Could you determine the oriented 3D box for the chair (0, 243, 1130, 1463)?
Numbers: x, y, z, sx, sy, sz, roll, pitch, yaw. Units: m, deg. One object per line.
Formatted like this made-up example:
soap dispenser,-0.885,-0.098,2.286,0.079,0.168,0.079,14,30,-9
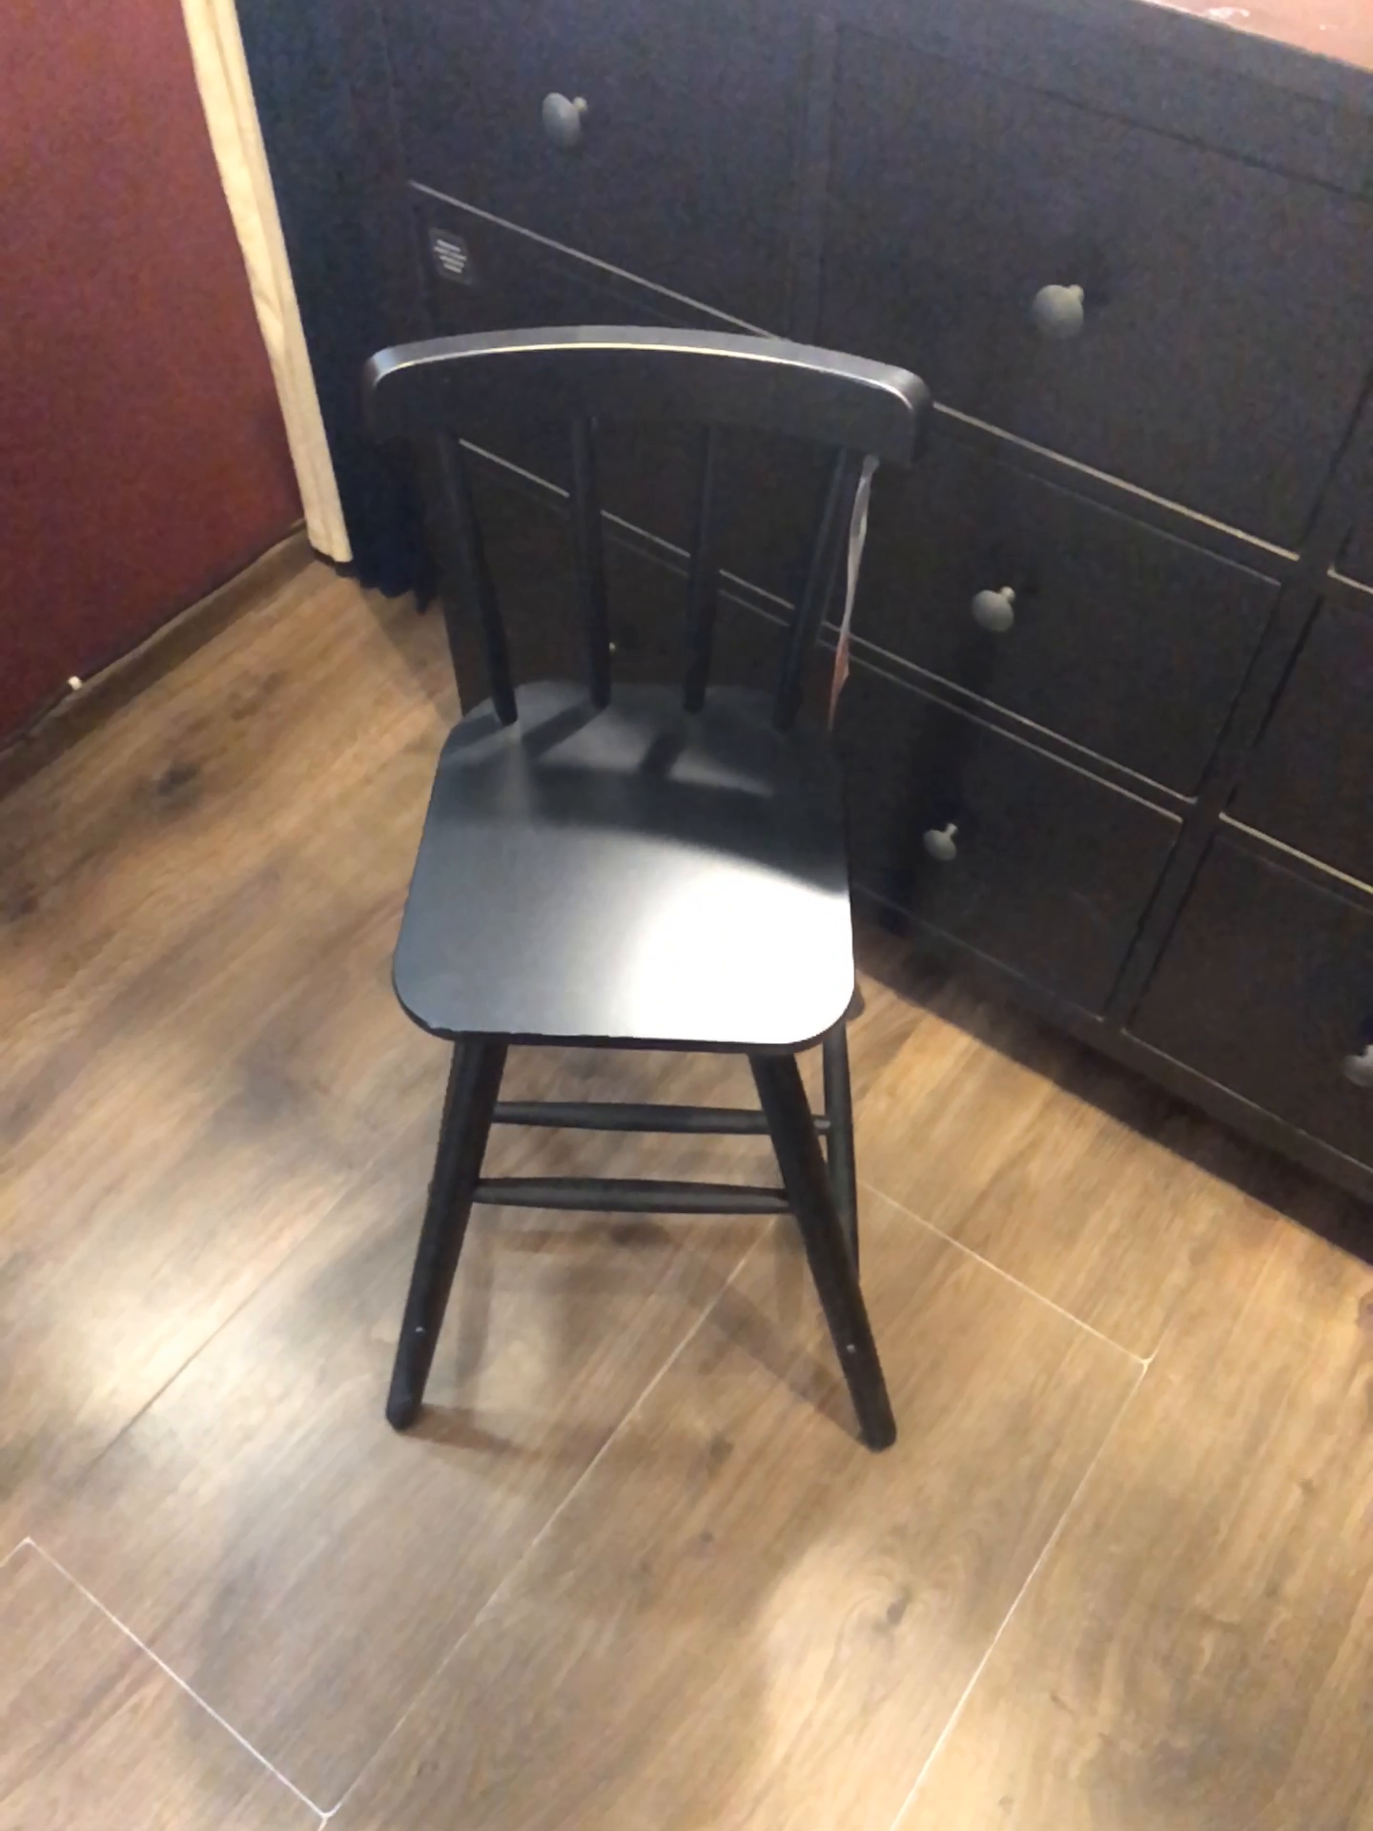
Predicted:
chair,-0.040,0.015,1.026,0.450,0.716,0.472,2,54,2
